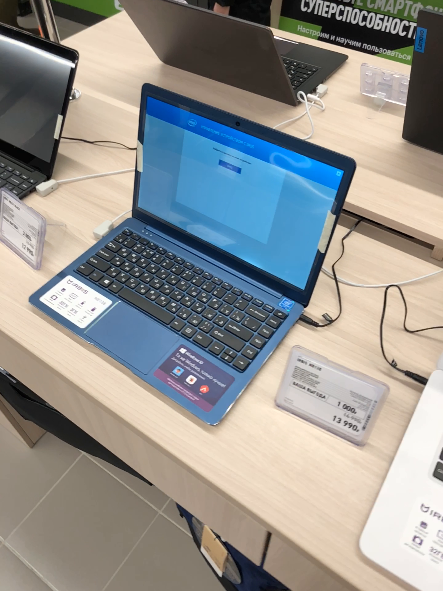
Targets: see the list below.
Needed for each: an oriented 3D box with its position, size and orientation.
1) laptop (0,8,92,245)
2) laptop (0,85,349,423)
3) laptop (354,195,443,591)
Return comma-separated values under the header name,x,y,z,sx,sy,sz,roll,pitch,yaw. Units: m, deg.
name,x,y,z,sx,sy,sz,roll,pitch,yaw
laptop,-0.455,-0.300,0.808,0.301,0.155,0.328,28,56,21
laptop,-0.058,-0.072,0.604,0.309,0.185,0.271,29,56,23
laptop,0.334,0.135,0.389,0.311,0.218,0.289,26,56,22
